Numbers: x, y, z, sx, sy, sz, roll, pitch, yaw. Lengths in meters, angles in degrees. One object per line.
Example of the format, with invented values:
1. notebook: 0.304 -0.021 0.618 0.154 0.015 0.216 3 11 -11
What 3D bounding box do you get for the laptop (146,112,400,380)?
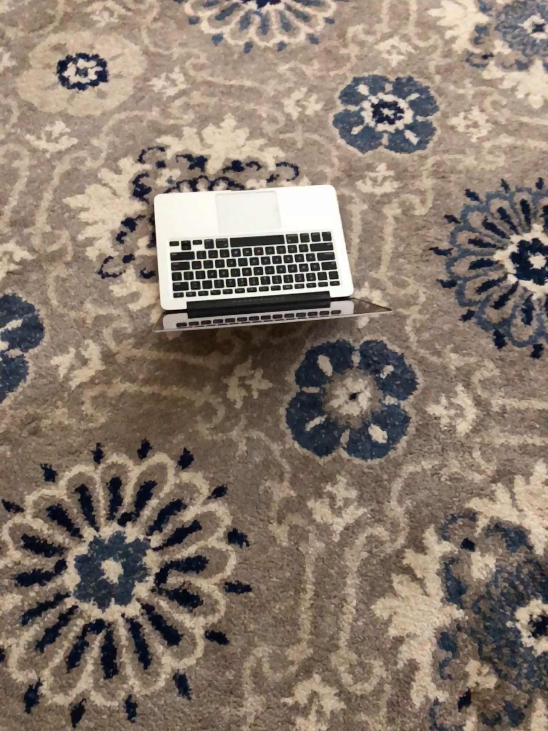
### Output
1. laptop: -0.016 -0.173 0.896 0.300 0.171 0.322 -6 71 -5
